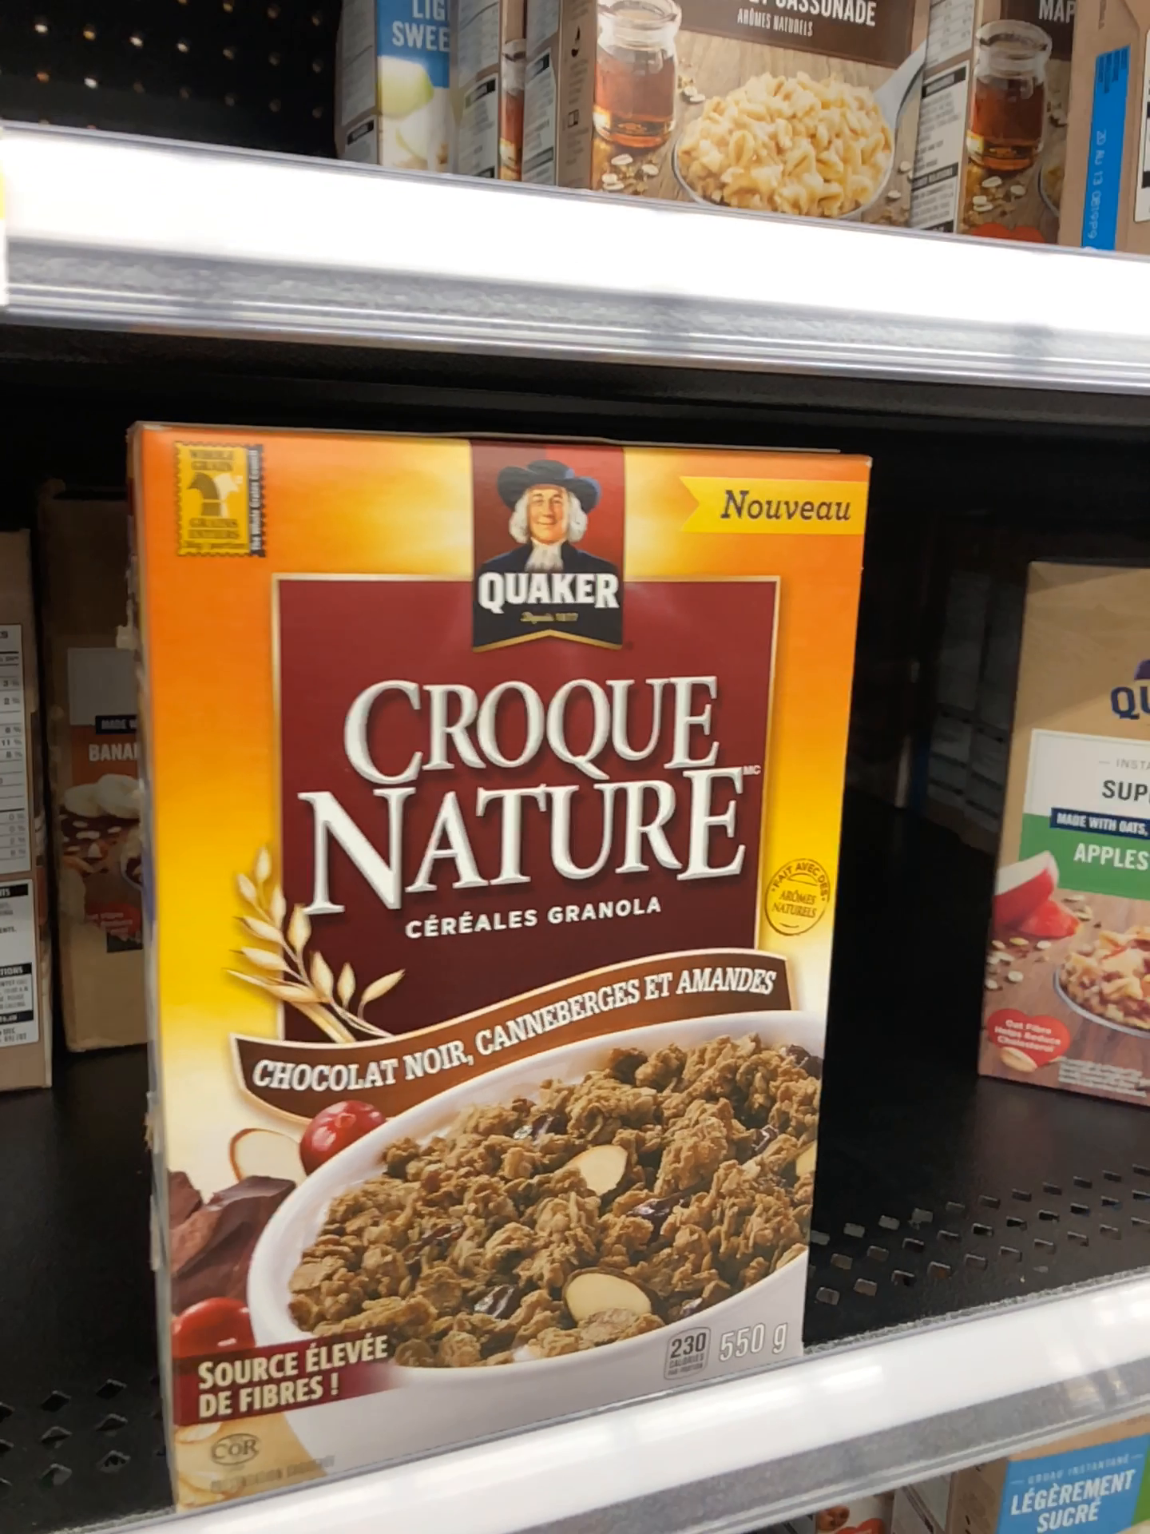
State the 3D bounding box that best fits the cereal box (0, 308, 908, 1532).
[{"bbox_3d":[-0.026,0.029,0.277,0.170,0.229,0.050,-3,14,-20],"label":"cereal box"}]
